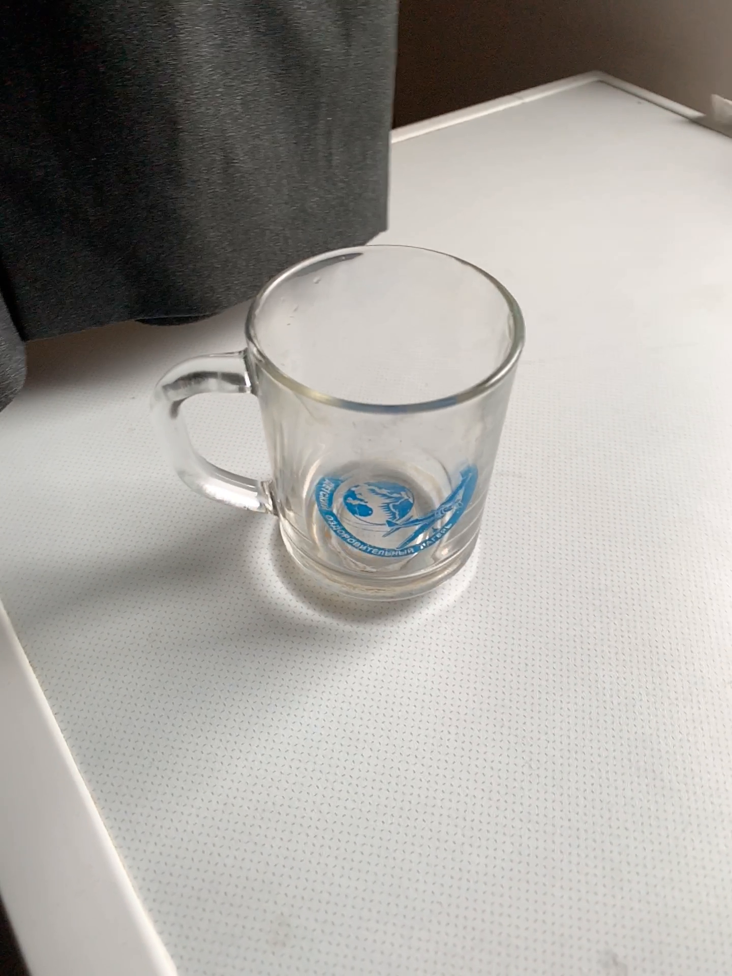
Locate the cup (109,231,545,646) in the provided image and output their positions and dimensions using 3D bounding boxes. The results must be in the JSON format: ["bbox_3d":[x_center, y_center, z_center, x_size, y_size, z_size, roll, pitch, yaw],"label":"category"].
[{"bbox_3d":[-0.007,-0.012,0.213,0.090,0.089,0.071,2,48,2],"label":"cup"}]
